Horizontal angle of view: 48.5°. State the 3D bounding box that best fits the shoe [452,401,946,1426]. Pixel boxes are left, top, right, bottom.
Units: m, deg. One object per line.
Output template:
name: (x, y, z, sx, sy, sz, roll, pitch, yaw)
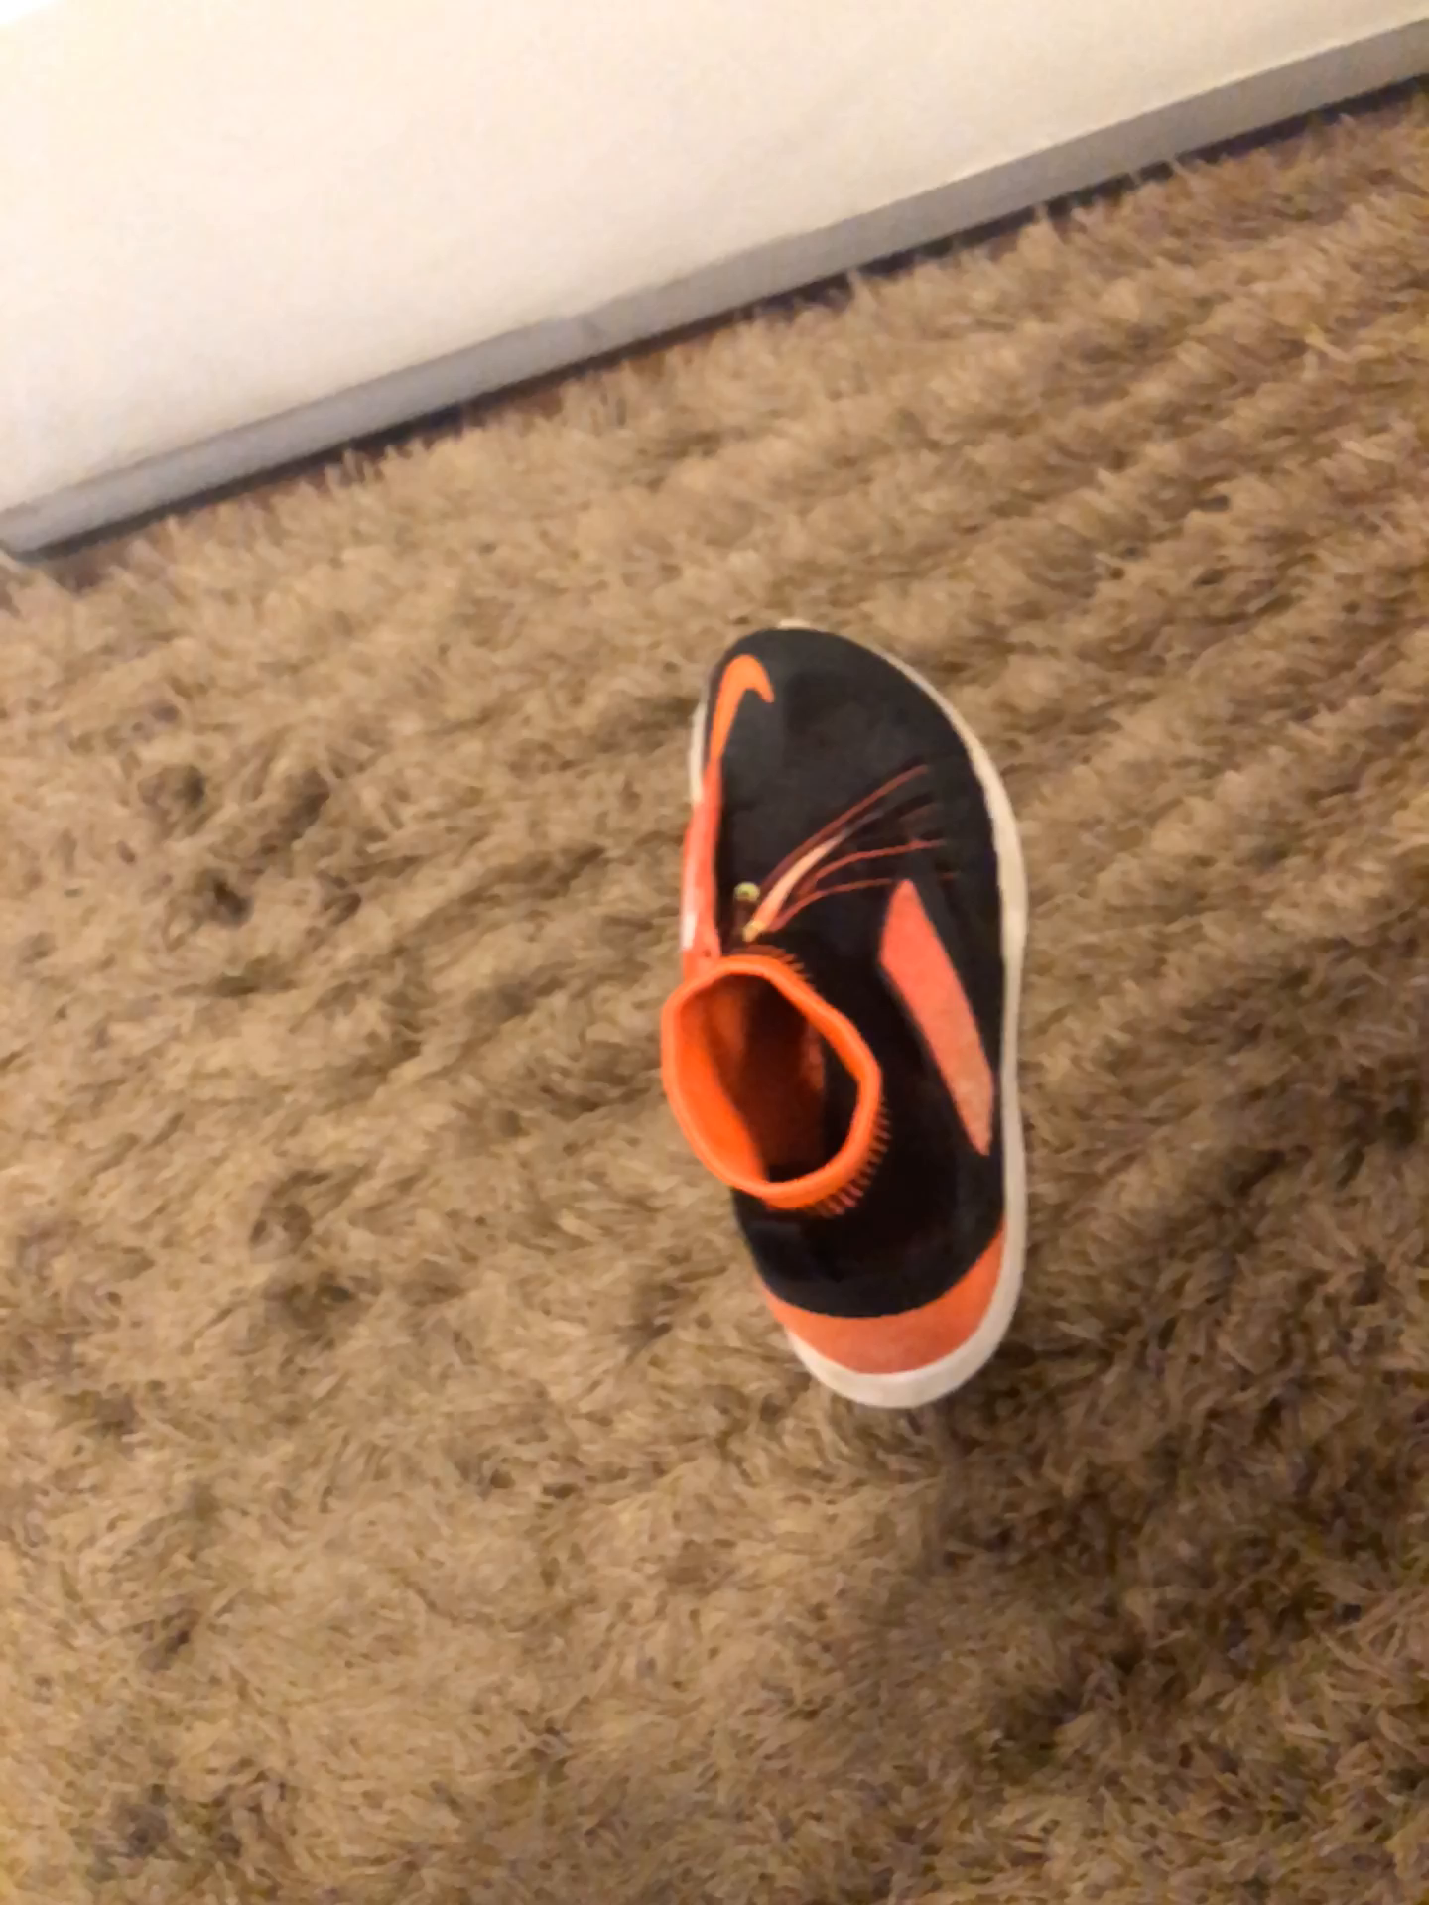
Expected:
shoe: (-0.004, -0.004, 0.535, 0.110, 0.140, 0.303, -9, 69, 17)
